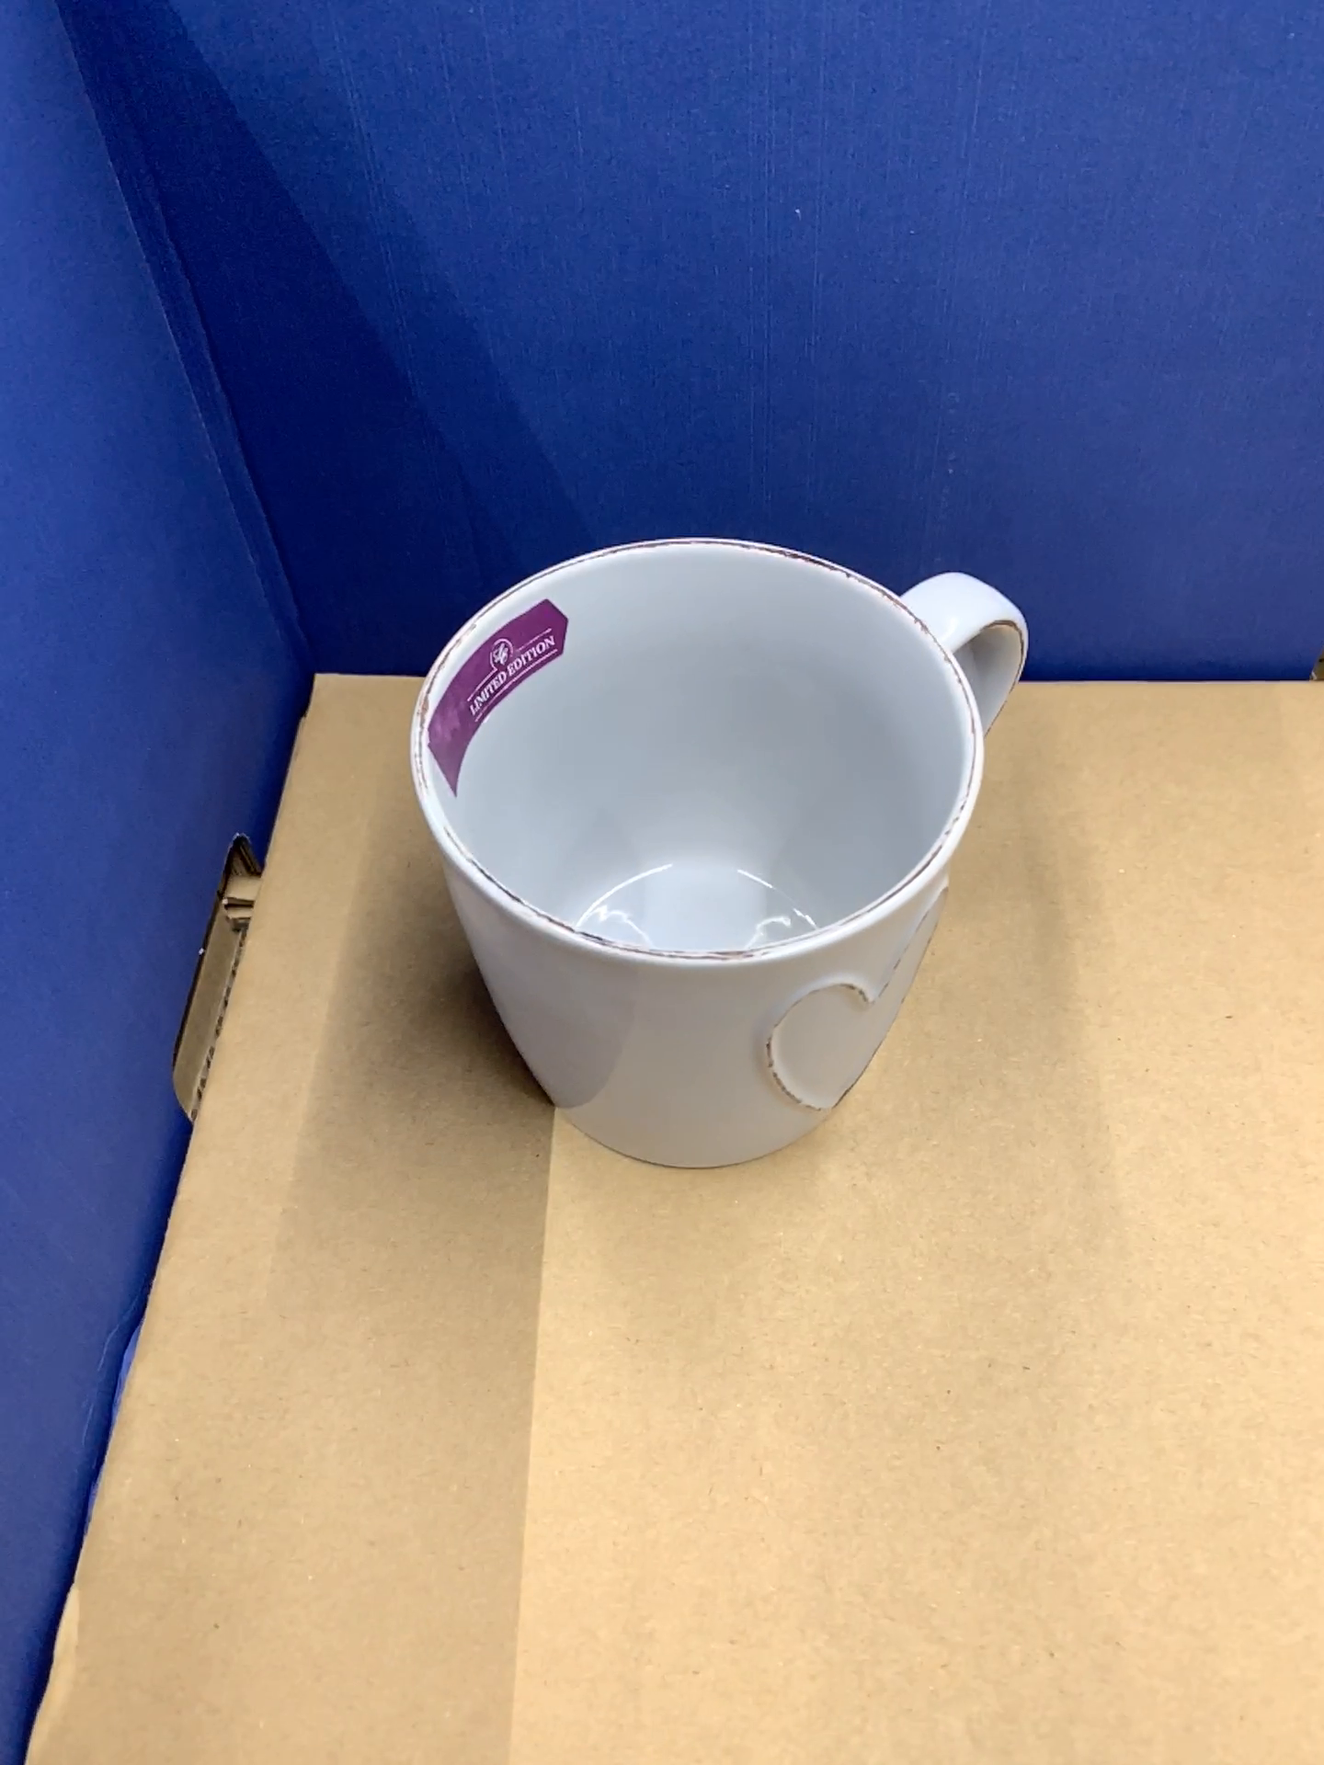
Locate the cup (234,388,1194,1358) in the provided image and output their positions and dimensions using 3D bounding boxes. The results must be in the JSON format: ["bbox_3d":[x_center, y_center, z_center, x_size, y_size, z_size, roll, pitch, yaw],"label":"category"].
[{"bbox_3d":[0.013,-0.007,0.245,0.091,0.085,0.125,31,59,26],"label":"cup"}]
